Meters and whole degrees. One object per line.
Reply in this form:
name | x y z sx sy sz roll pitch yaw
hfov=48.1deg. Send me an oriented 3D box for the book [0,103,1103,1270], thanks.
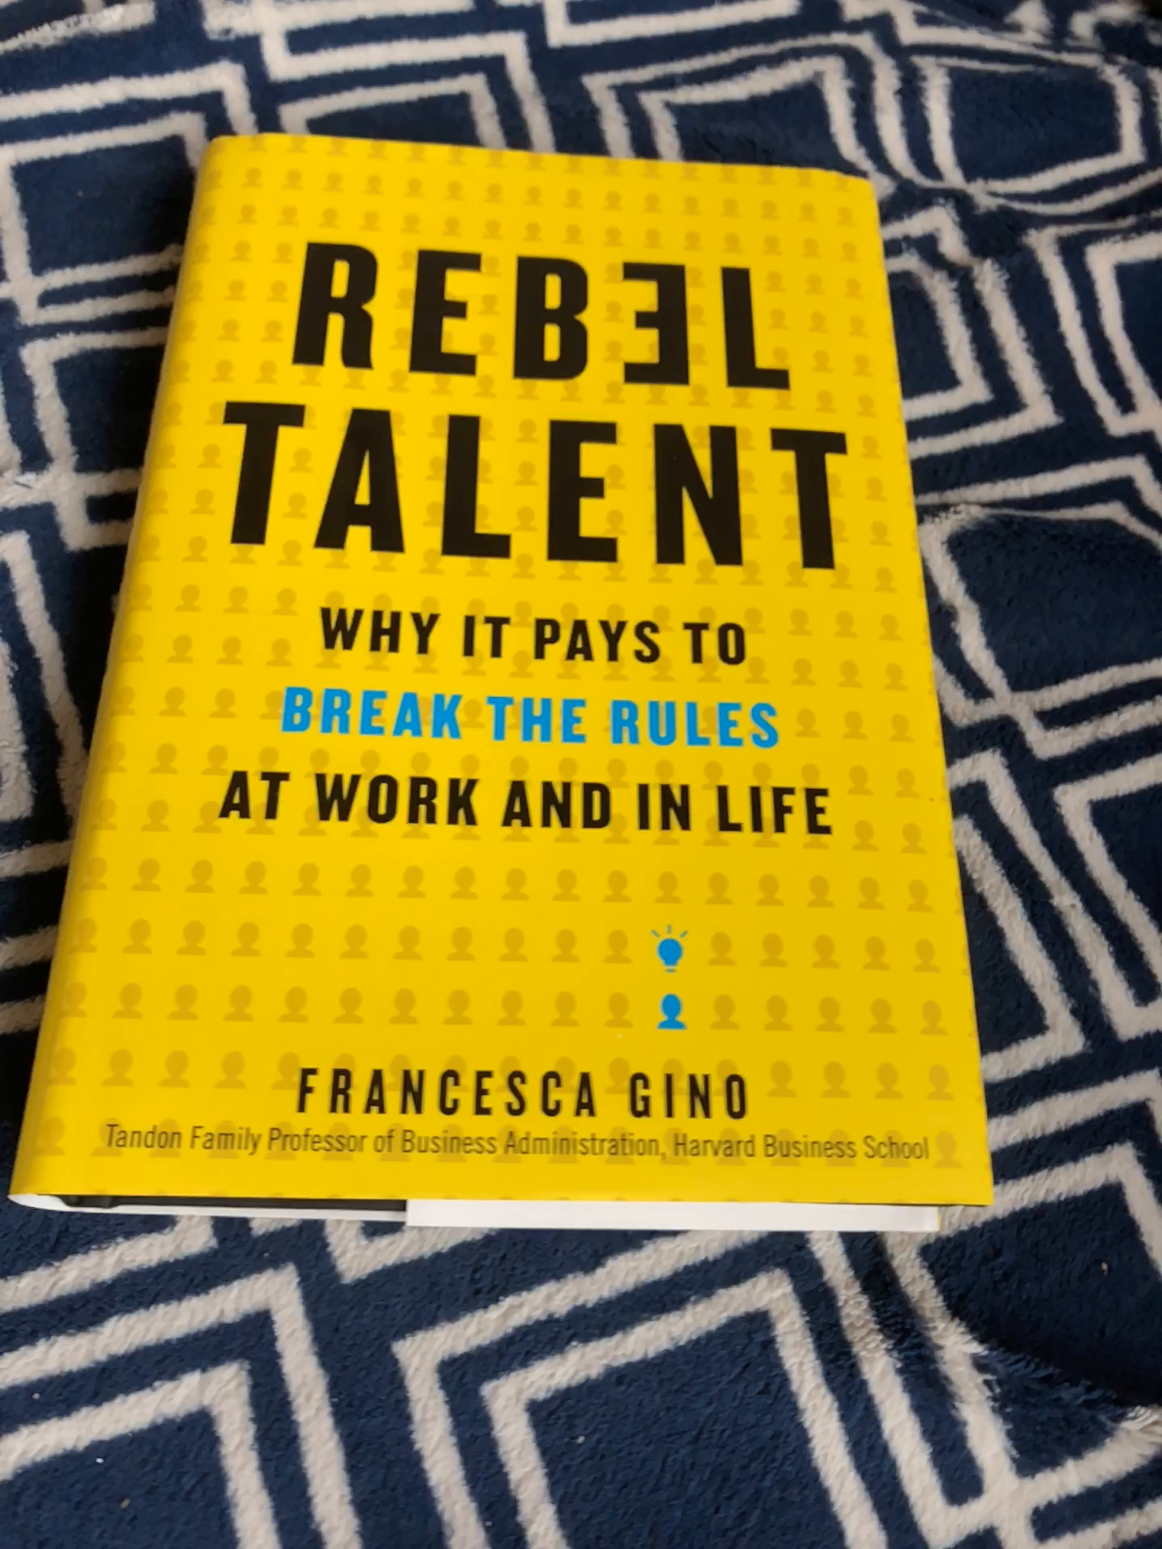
book | -0.004 -0.030 0.257 0.167 0.032 0.237 2 65 -5
